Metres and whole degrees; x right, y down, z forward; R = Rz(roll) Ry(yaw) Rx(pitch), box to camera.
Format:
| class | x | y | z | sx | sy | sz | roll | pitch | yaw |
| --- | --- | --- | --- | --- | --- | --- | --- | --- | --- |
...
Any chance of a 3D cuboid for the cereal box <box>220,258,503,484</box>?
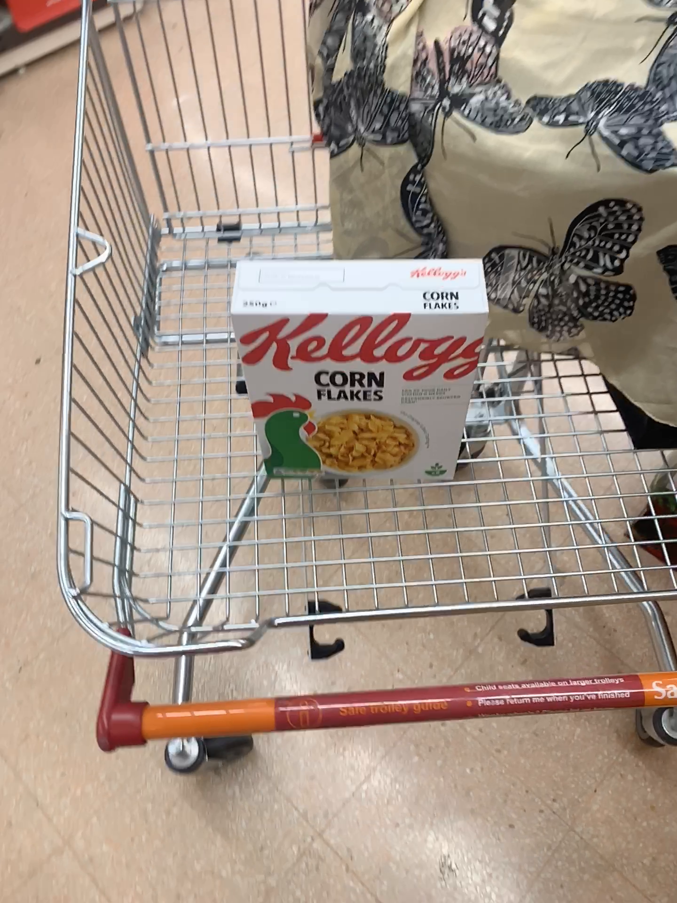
| class | x | y | z | sx | sy | sz | roll | pitch | yaw |
| --- | --- | --- | --- | --- | --- | --- | --- | --- | --- |
| cereal box | 0.017 | -0.056 | 0.605 | 0.200 | 0.238 | 0.060 | 0 | 58 | 1 |
